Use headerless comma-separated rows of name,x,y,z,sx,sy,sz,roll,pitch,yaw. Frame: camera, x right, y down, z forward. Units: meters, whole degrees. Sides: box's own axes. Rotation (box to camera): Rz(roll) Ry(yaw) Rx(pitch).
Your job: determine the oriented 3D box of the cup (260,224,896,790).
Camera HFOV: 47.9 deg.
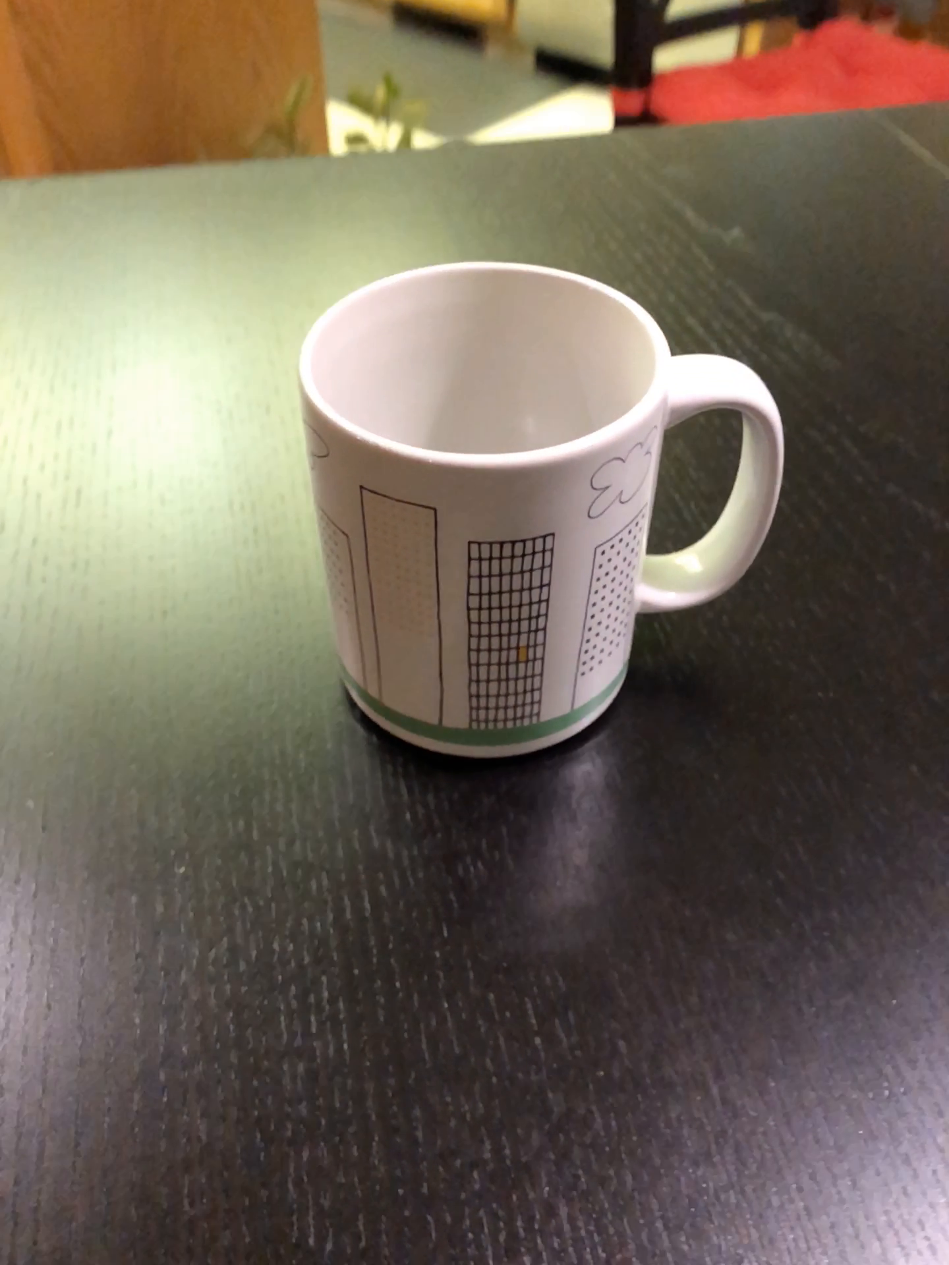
cup,0.019,-0.036,0.291,0.130,0.099,0.091,-11,46,-10
